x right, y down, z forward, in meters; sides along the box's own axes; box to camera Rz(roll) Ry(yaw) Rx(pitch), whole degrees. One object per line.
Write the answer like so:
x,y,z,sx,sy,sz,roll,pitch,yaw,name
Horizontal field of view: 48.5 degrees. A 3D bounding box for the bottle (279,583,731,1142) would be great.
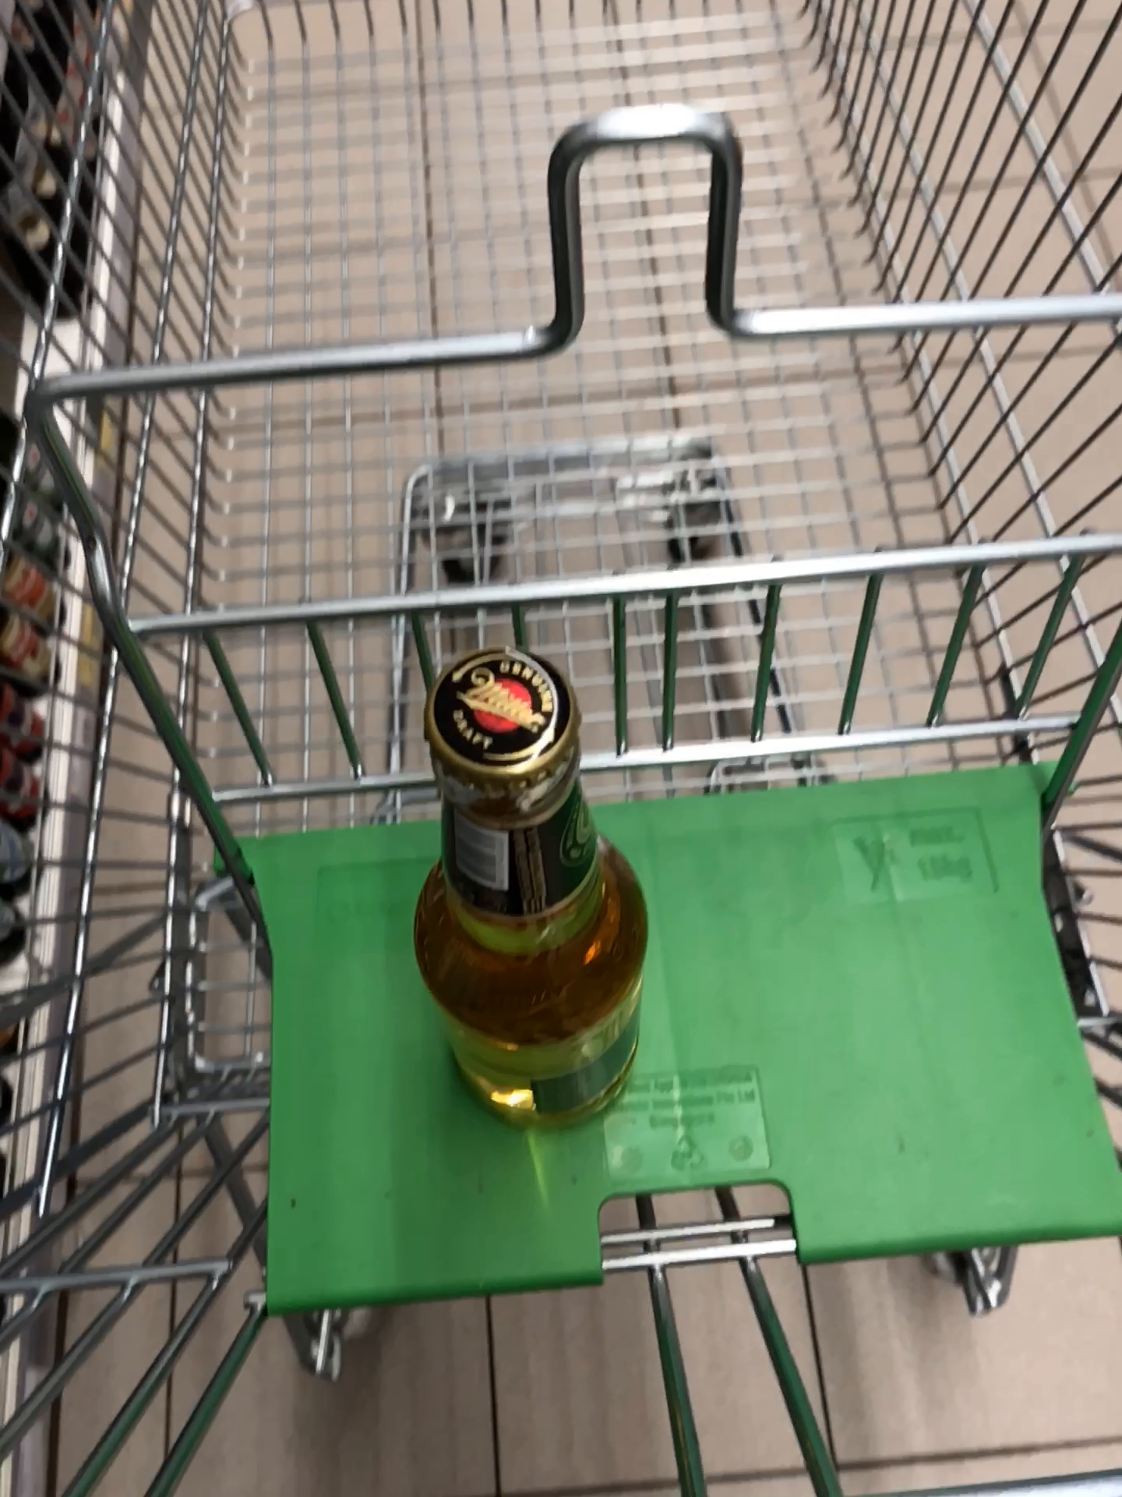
-0.005,0.046,0.302,0.070,0.209,0.070,-1,66,2,bottle
